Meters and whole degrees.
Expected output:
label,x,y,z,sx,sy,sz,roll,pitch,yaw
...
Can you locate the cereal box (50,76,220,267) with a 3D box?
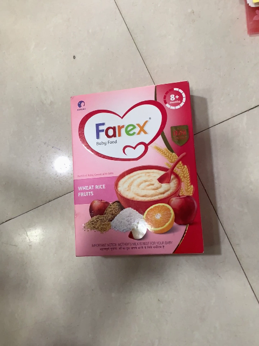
label,x,y,z,sx,sy,sz,roll,pitch,yaw
cereal box,0.002,0.002,0.307,0.170,0.050,0.190,-5,83,10
